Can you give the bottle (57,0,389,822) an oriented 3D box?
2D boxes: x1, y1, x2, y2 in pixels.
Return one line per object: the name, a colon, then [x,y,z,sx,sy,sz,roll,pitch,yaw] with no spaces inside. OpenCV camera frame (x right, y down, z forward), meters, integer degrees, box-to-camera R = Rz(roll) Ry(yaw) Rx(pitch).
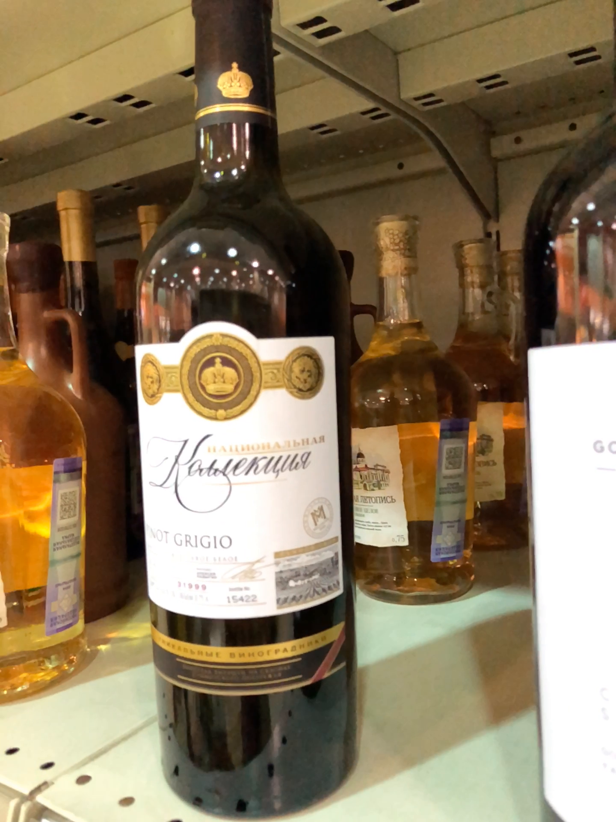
bottle: [-0.023,-0.021,0.268,0.090,0.320,0.090,-3,3,0]
